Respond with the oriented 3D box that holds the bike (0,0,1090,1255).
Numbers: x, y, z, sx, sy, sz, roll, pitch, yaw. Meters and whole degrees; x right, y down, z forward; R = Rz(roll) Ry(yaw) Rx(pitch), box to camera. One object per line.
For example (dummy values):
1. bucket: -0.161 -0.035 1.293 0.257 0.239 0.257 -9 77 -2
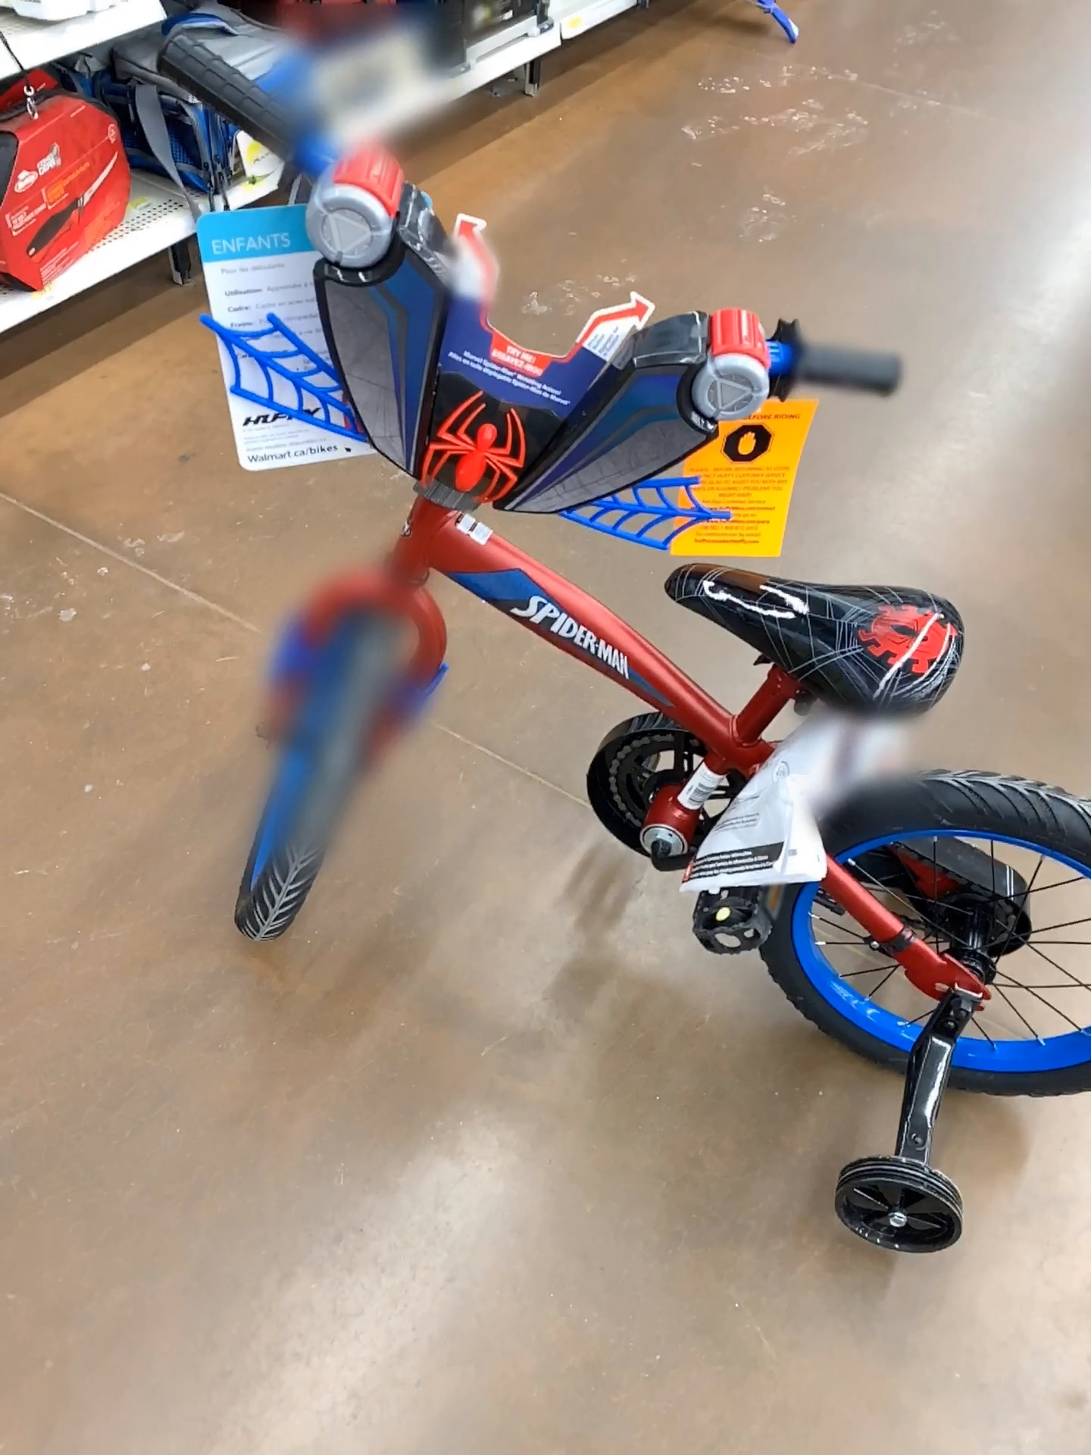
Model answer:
1. bike: 0.083 -0.030 0.754 0.565 0.708 0.477 10 48 5
